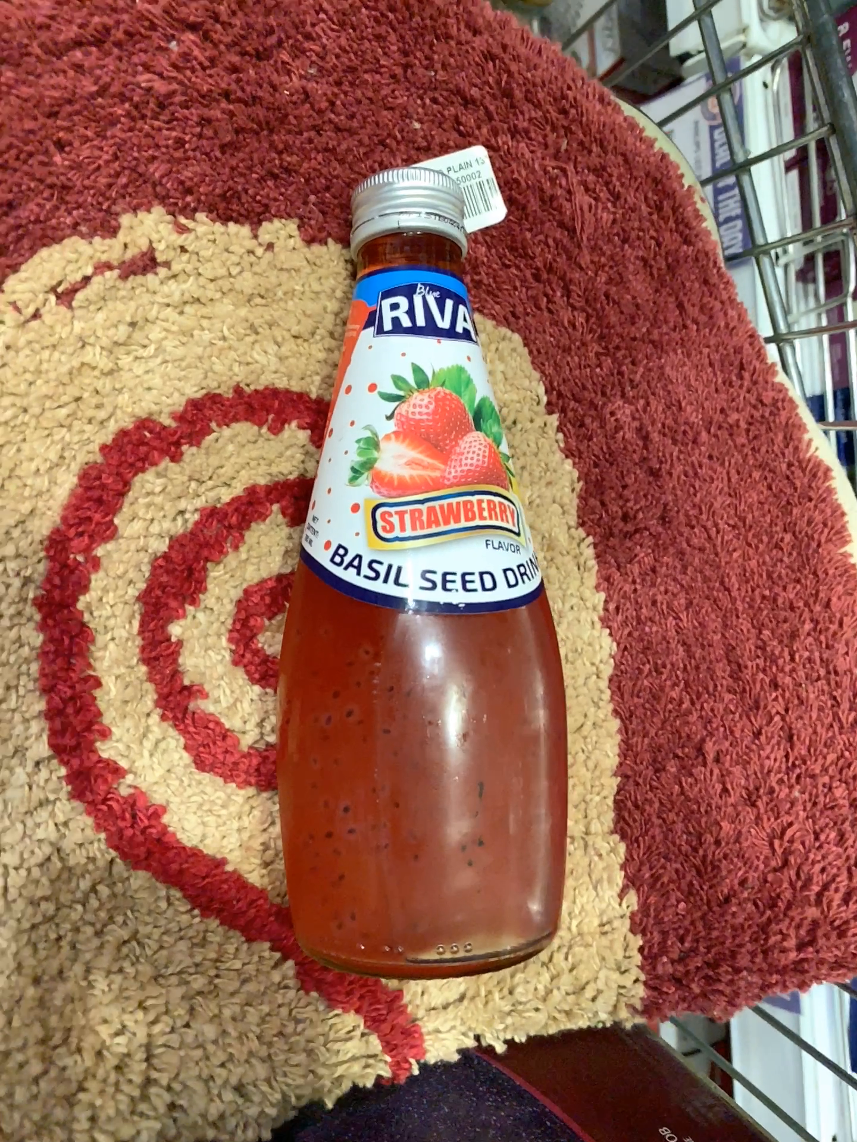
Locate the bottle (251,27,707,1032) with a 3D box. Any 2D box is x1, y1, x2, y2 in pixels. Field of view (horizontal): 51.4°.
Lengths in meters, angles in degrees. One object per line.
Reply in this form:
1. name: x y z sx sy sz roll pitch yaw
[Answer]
1. bottle: 0.006 -0.008 0.177 0.070 0.050 0.160 2 82 -26
